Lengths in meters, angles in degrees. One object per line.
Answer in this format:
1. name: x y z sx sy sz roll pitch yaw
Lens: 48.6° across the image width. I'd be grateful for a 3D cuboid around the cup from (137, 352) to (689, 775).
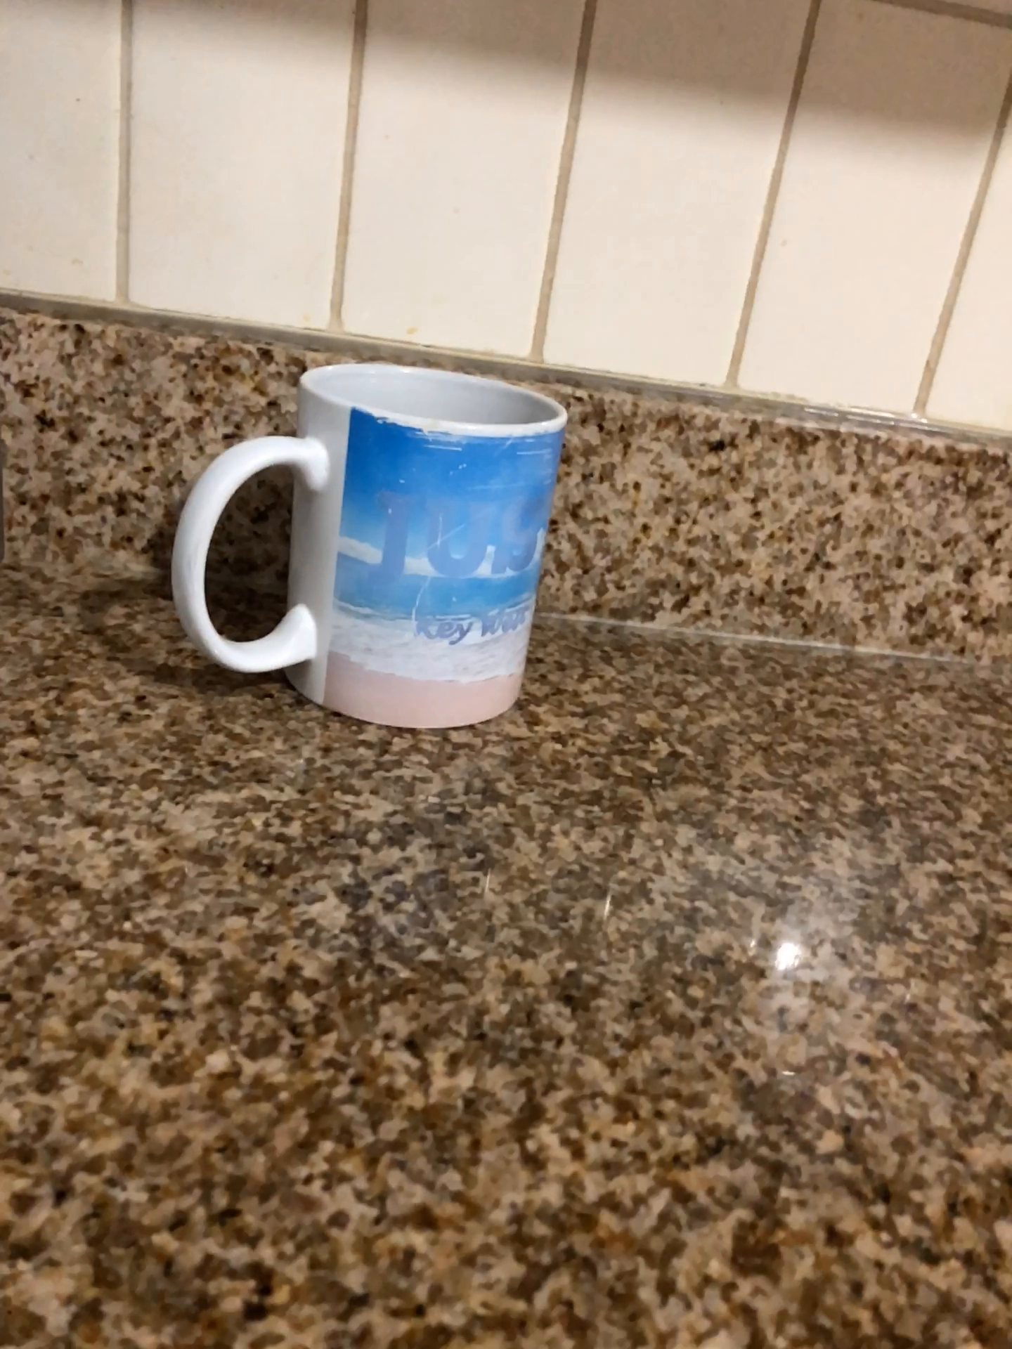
1. cup: -0.030 -0.041 0.341 0.130 0.090 0.090 -9 28 -38
